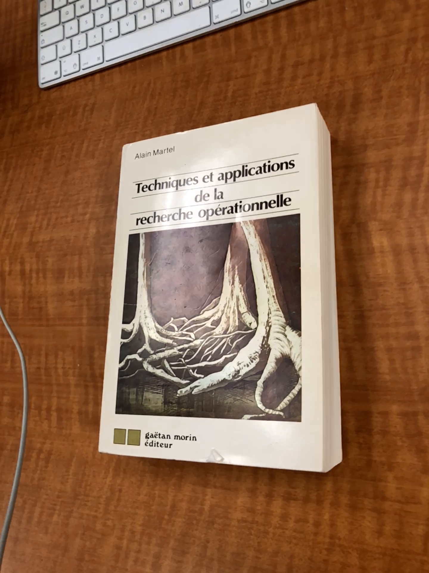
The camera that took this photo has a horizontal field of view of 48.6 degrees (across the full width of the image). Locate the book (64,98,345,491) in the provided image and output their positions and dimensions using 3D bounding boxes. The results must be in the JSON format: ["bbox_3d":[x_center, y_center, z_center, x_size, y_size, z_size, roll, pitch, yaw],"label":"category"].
[{"bbox_3d":[-0.004,0.007,0.337,0.170,0.070,0.230,-4,75,23],"label":"book"}]
